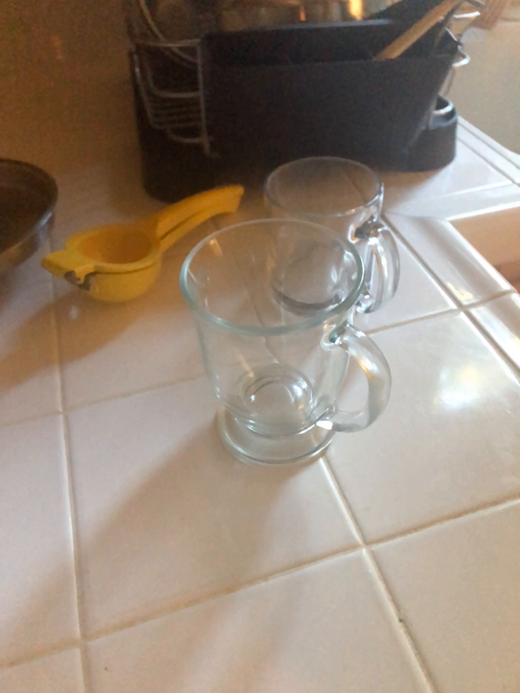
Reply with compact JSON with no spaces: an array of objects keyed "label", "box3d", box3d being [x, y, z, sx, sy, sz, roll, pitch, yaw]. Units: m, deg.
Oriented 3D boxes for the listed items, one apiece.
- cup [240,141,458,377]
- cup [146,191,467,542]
[{"label":"cup","box3d":[0.061,-0.069,0.437,0.090,0.109,0.120,-31,51,-26]},{"label":"cup","box3d":[0.025,0.010,0.335,0.130,0.139,0.091,25,51,26]}]
